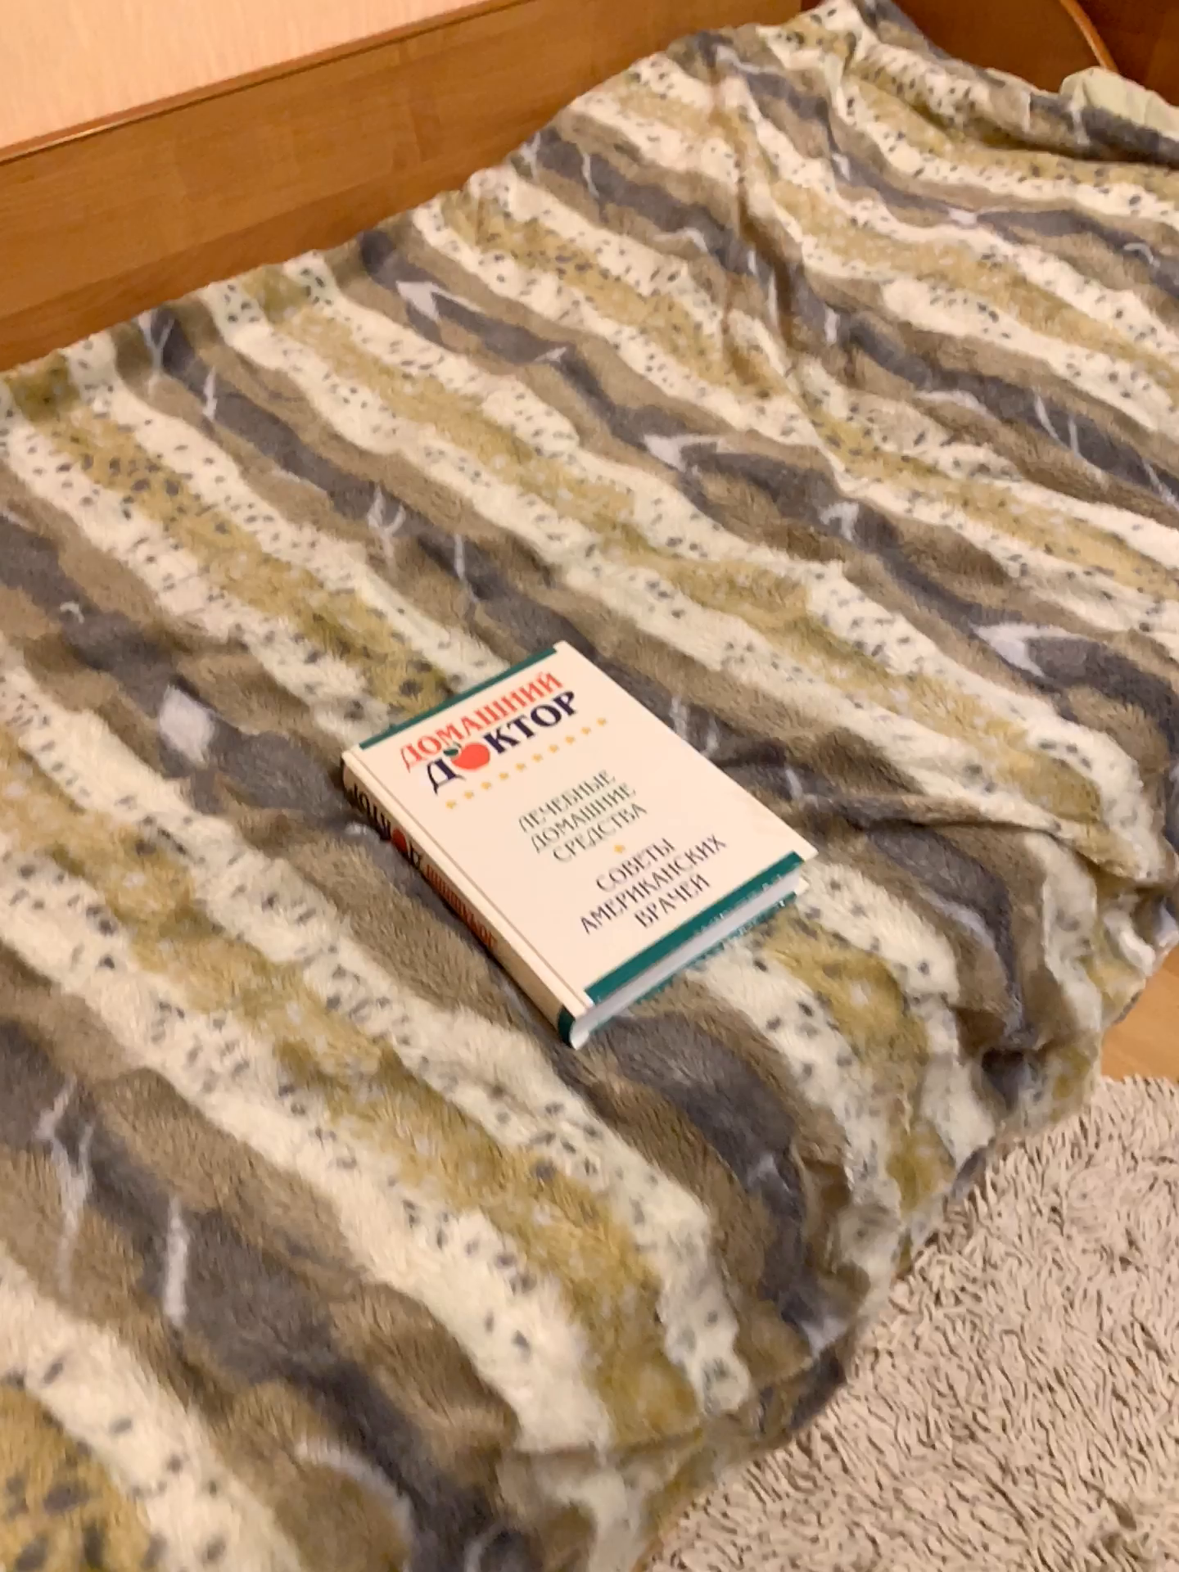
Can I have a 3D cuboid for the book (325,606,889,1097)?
[{"bbox_3d":[0.004,0.018,0.655,0.191,0.040,0.241,-30,55,-24],"label":"book"}]
